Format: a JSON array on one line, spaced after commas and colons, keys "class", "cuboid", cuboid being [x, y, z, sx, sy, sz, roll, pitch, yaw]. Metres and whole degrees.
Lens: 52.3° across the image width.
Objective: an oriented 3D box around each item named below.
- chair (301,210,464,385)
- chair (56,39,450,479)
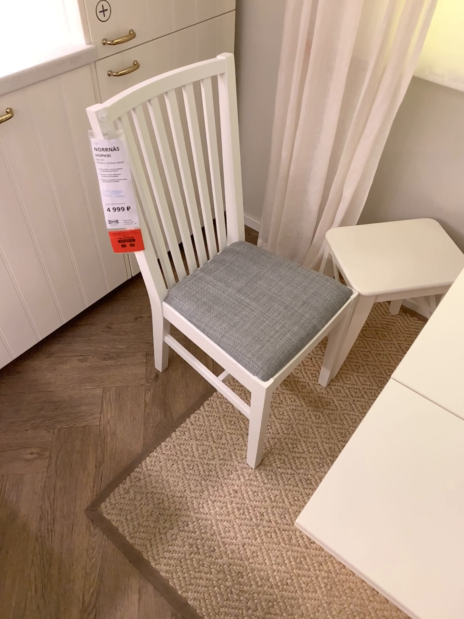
[{"class": "chair", "cuboid": [0.547, -0.045, 1.642, 0.460, 0.388, 0.402, -7, 49, -9]}, {"class": "chair", "cuboid": [0.033, -0.112, 1.333, 0.621, 0.916, 0.552, 34, 55, 24]}]
